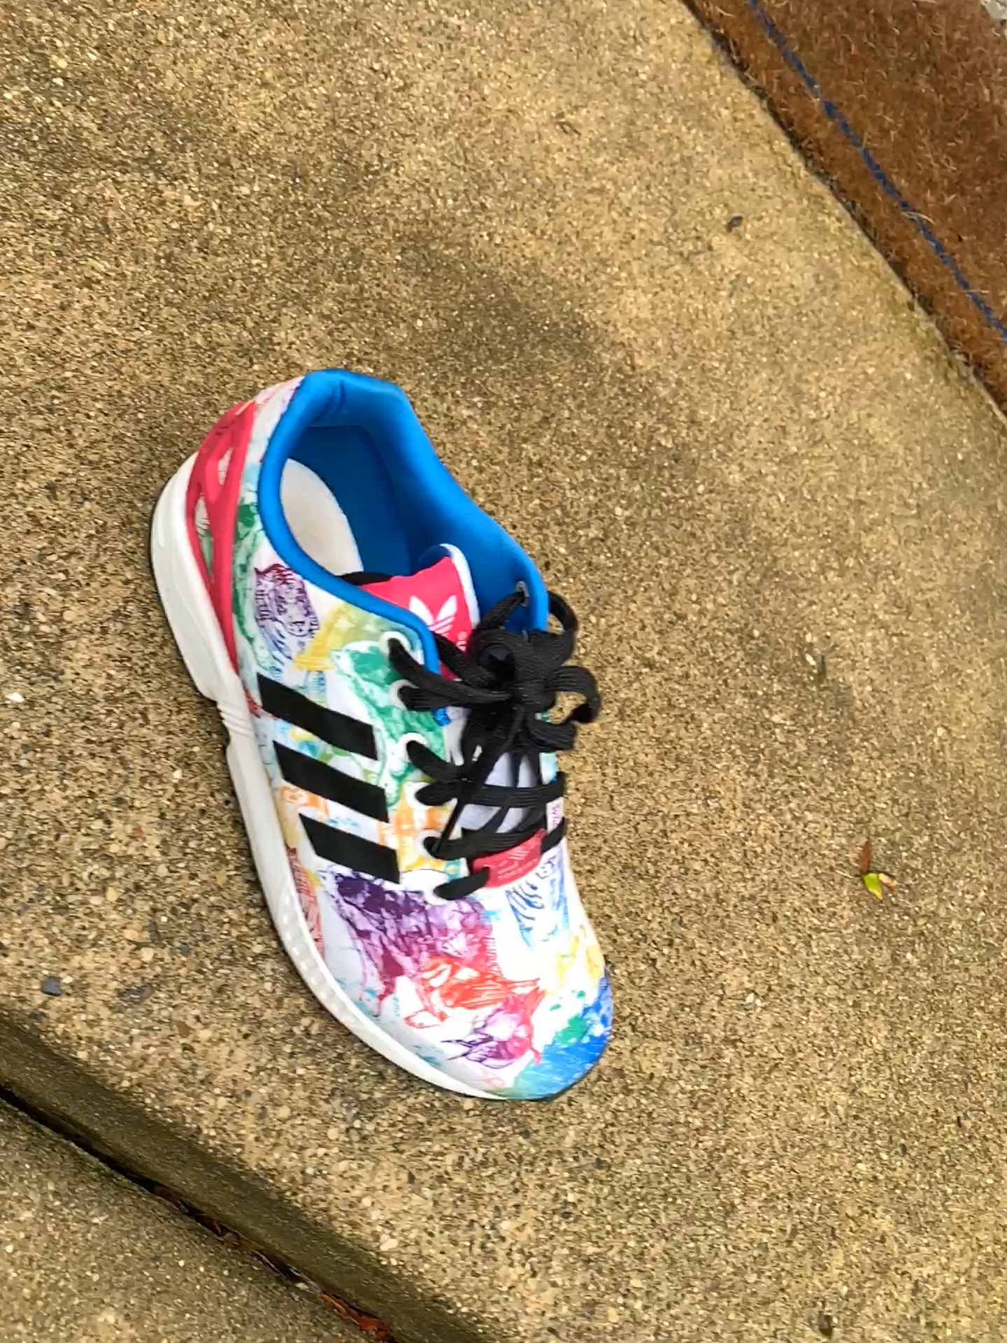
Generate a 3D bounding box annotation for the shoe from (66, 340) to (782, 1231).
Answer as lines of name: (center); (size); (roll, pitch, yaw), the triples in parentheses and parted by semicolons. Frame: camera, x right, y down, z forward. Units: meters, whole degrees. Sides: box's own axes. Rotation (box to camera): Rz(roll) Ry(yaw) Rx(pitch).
shoe: (-0.029, 0.033, 0.348); (0.110, 0.105, 0.245); (-25, 89, -40)
